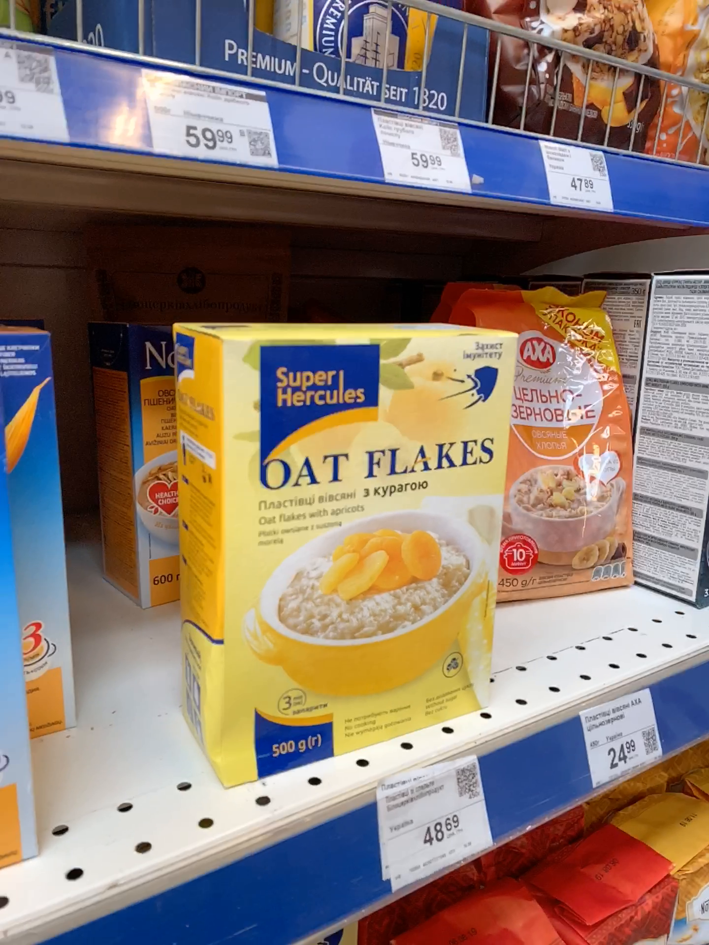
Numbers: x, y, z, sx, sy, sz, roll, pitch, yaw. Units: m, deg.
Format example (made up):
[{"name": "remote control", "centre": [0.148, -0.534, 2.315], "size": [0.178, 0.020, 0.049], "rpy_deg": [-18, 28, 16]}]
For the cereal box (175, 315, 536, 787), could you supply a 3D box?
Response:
[{"name": "cereal box", "centre": [0.000, 0.025, 0.344], "size": [0.150, 0.189, 0.060], "rpy_deg": [-6, 15, -30]}]
